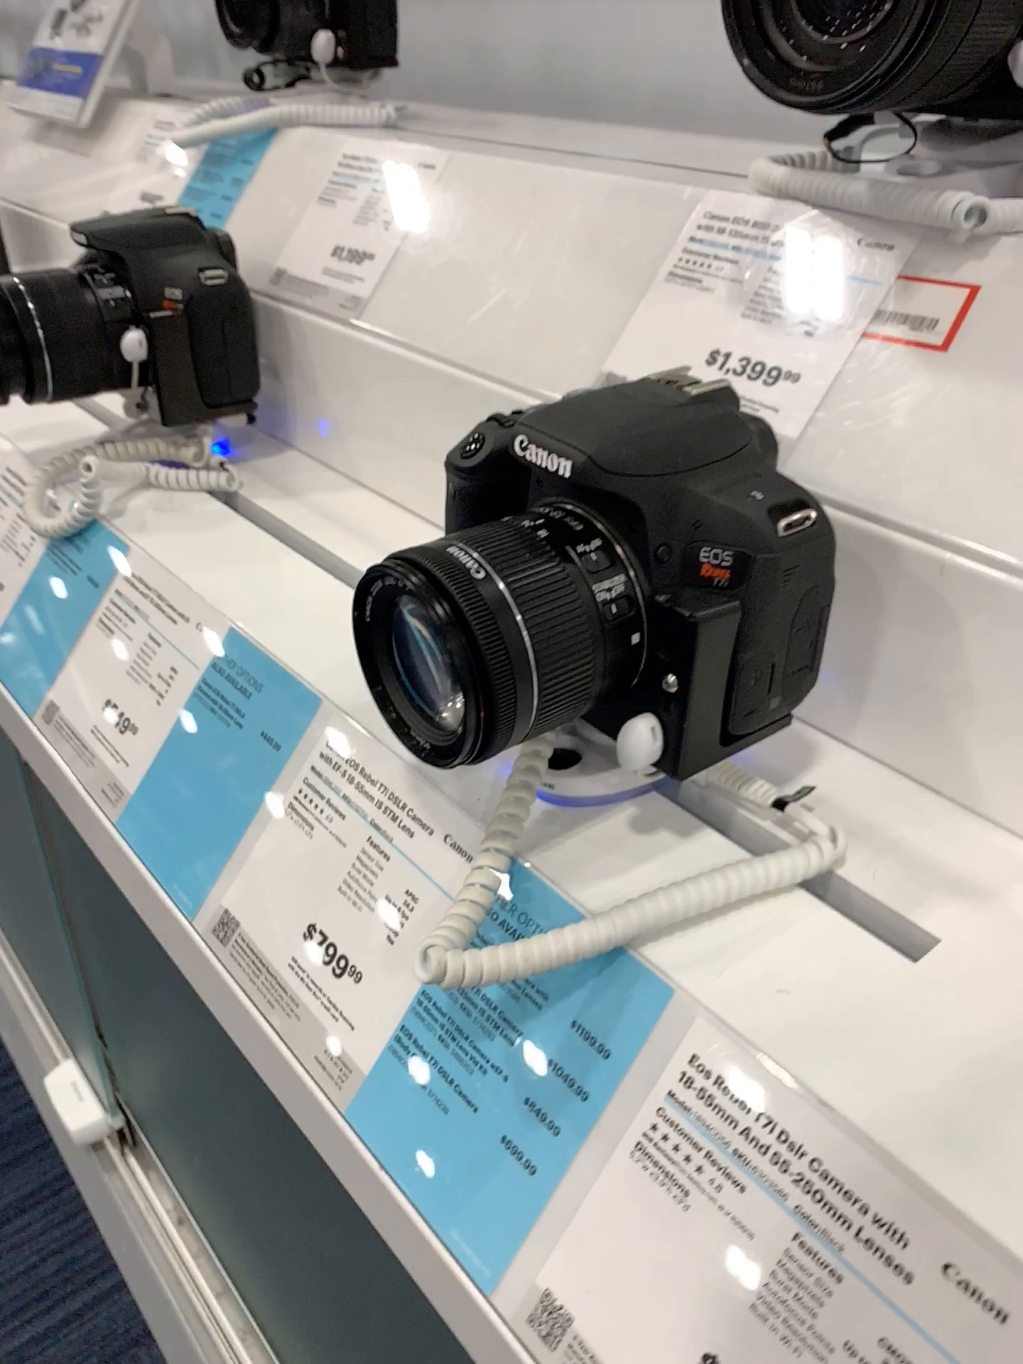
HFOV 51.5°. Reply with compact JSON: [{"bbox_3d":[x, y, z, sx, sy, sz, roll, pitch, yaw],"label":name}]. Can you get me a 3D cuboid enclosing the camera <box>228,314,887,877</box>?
[{"bbox_3d":[0.009,-0.042,0.331,0.130,0.099,0.141,-22,39,-33],"label":"camera"}]
